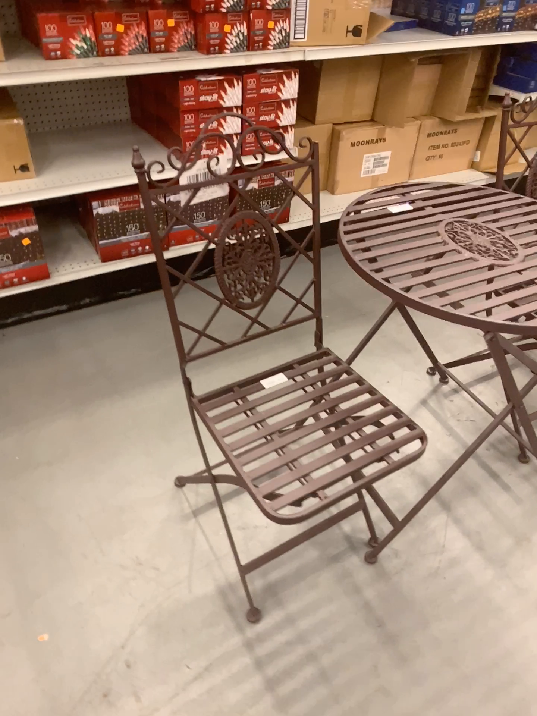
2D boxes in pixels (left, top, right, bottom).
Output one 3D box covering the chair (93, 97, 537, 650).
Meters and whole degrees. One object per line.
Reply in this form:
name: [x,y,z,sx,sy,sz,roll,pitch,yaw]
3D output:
chair: [0.020,0.034,1.068,0.422,0.839,0.565,-20,46,-26]
